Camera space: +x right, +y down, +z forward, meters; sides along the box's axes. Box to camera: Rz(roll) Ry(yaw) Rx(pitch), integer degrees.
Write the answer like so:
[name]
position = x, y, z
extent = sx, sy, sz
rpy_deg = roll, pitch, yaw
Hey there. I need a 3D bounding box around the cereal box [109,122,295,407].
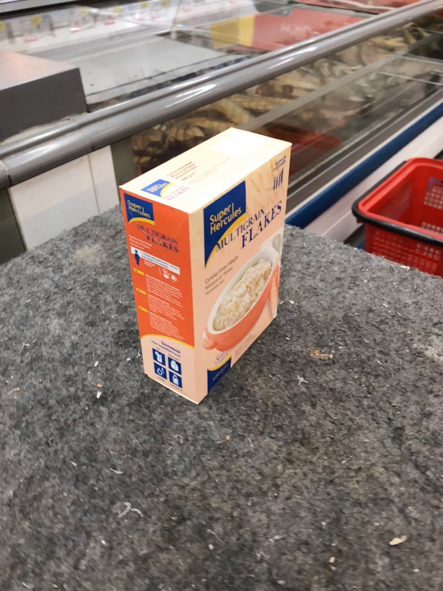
[cereal box]
position = -0.009, -0.029, 0.441
extent = 0.070, 0.199, 0.151
rpy_deg = 23, 44, 26
